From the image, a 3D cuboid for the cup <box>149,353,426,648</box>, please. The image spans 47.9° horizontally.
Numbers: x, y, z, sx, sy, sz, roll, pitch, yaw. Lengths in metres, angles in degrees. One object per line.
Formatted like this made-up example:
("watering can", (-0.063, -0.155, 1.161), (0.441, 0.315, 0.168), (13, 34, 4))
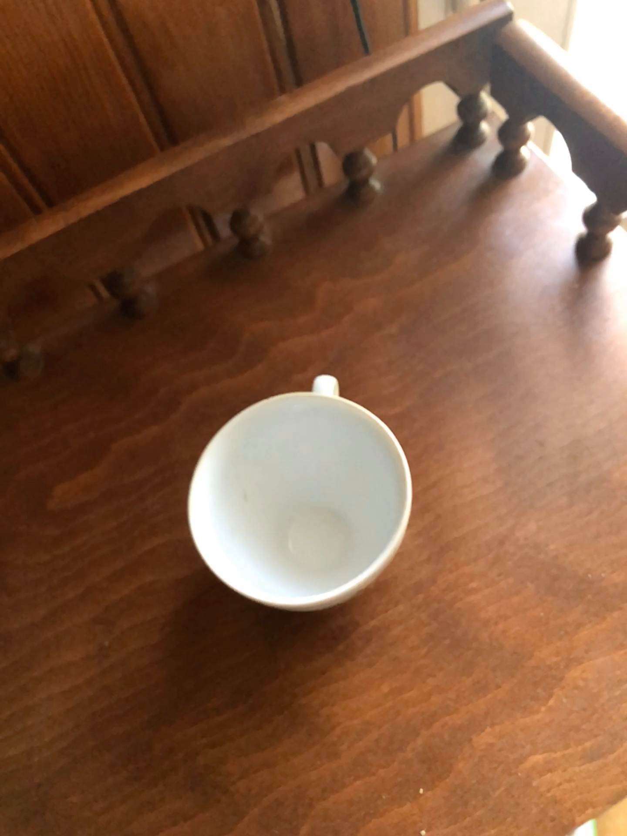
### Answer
("cup", (-0.003, 0.029, 0.260), (0.080, 0.050, 0.090), (4, 64, 12))
